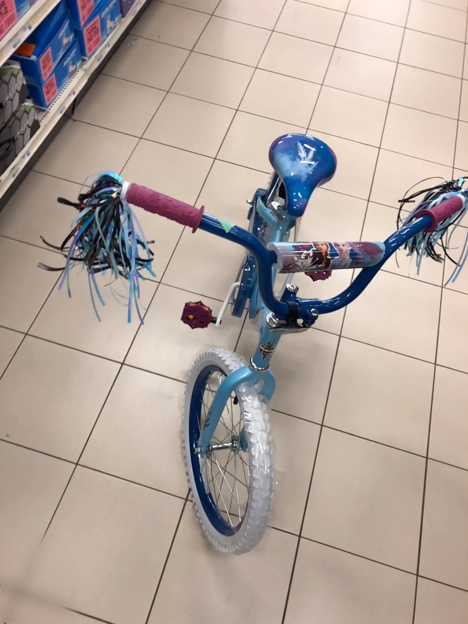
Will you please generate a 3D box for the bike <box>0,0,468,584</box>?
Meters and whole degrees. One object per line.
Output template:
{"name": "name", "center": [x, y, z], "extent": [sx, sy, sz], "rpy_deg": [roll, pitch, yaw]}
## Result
{"name": "bike", "center": [0.129, -0.112, 1.151], "extent": [0.640, 0.954, 1.179], "rpy_deg": [8, 56, -1]}
